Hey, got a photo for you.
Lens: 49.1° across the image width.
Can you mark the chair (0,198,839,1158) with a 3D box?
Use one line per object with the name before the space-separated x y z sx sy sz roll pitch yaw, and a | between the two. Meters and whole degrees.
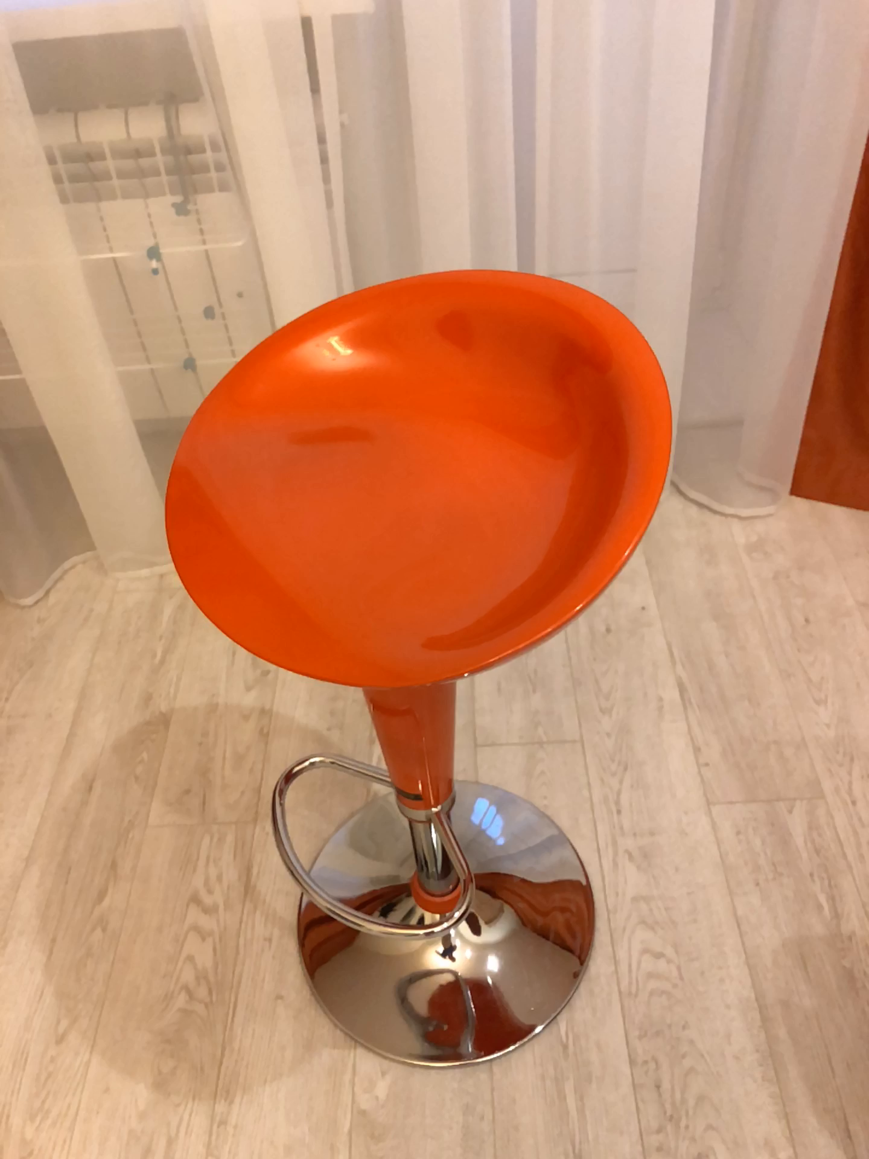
chair | -0.008 0.137 0.855 0.391 0.735 0.402 -31 49 -25
